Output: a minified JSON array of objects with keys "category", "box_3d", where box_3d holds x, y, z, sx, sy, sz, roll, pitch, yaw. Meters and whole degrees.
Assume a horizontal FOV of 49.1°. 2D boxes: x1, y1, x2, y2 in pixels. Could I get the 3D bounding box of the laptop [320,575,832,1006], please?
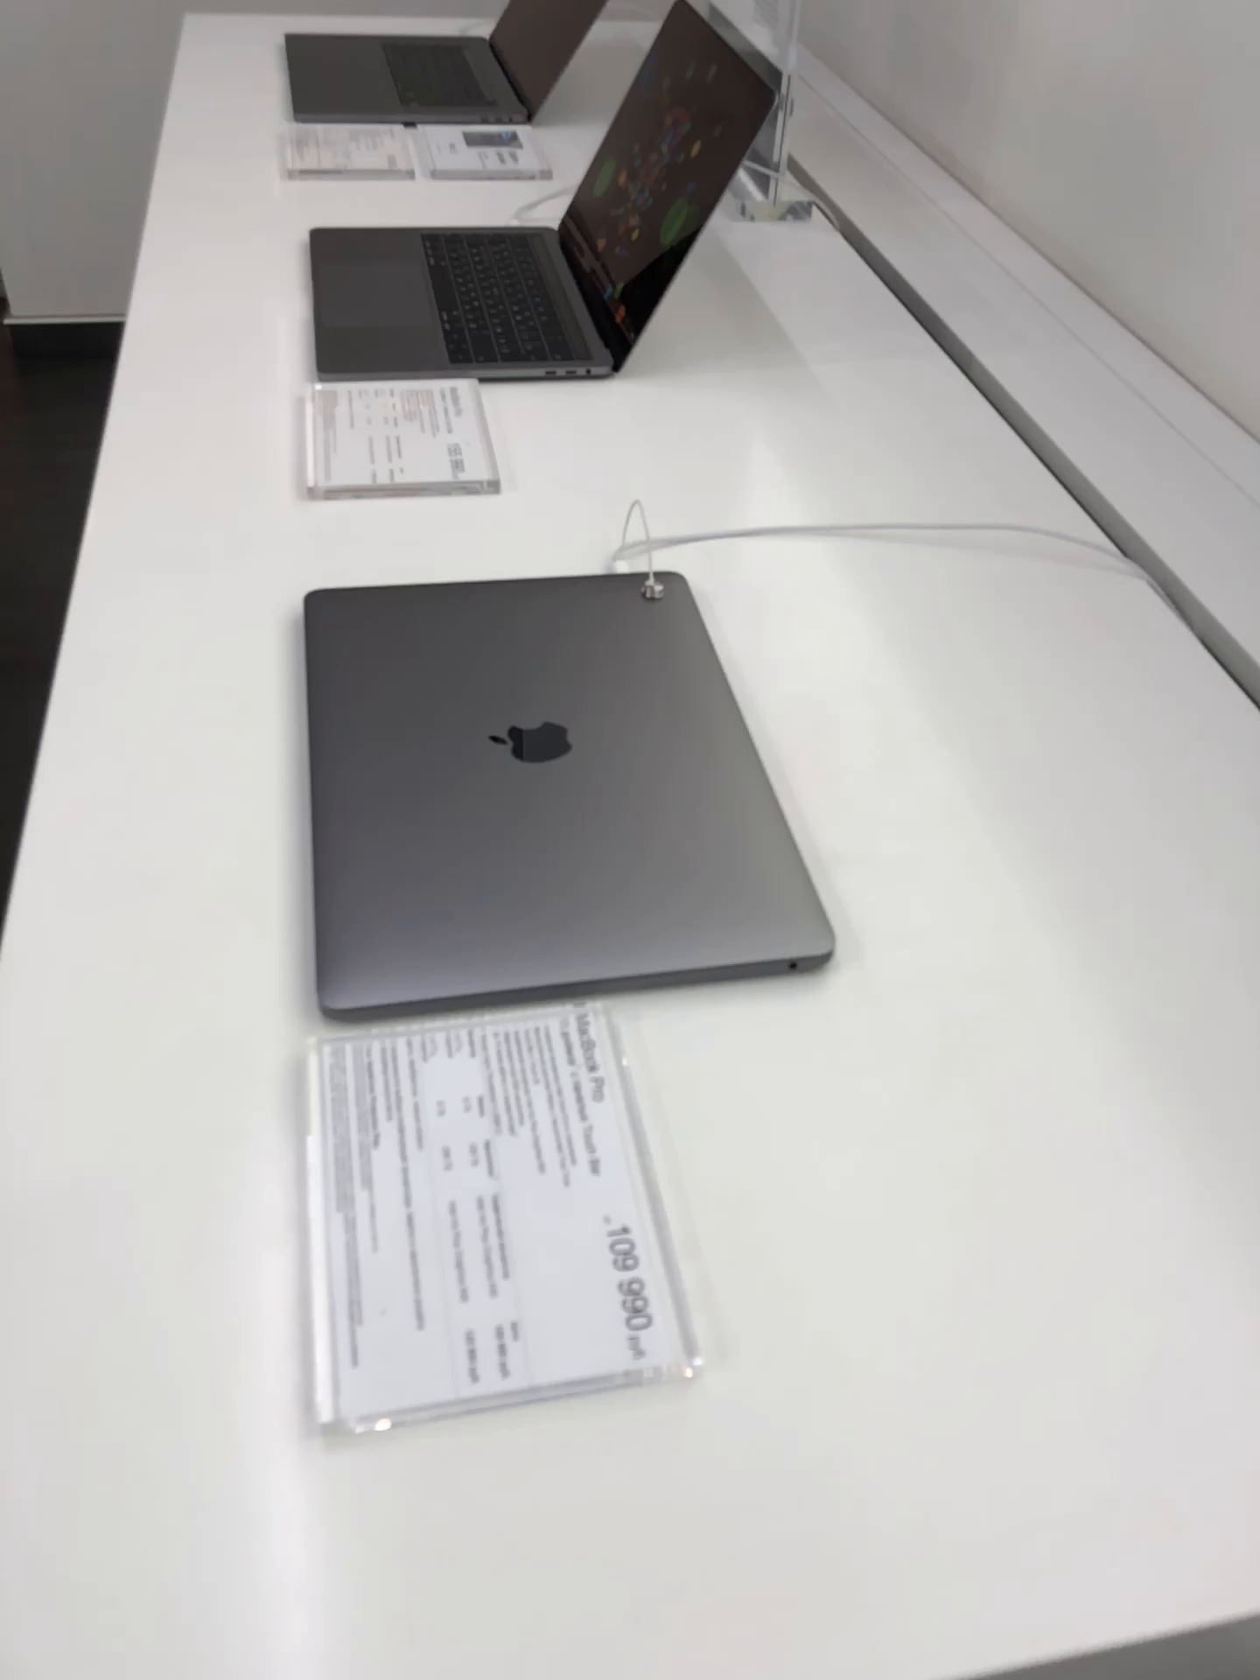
[{"category":"laptop","box_3d":[-0.042,-0.042,0.646,0.198,0.001,0.294,-5,42,-9]}]
